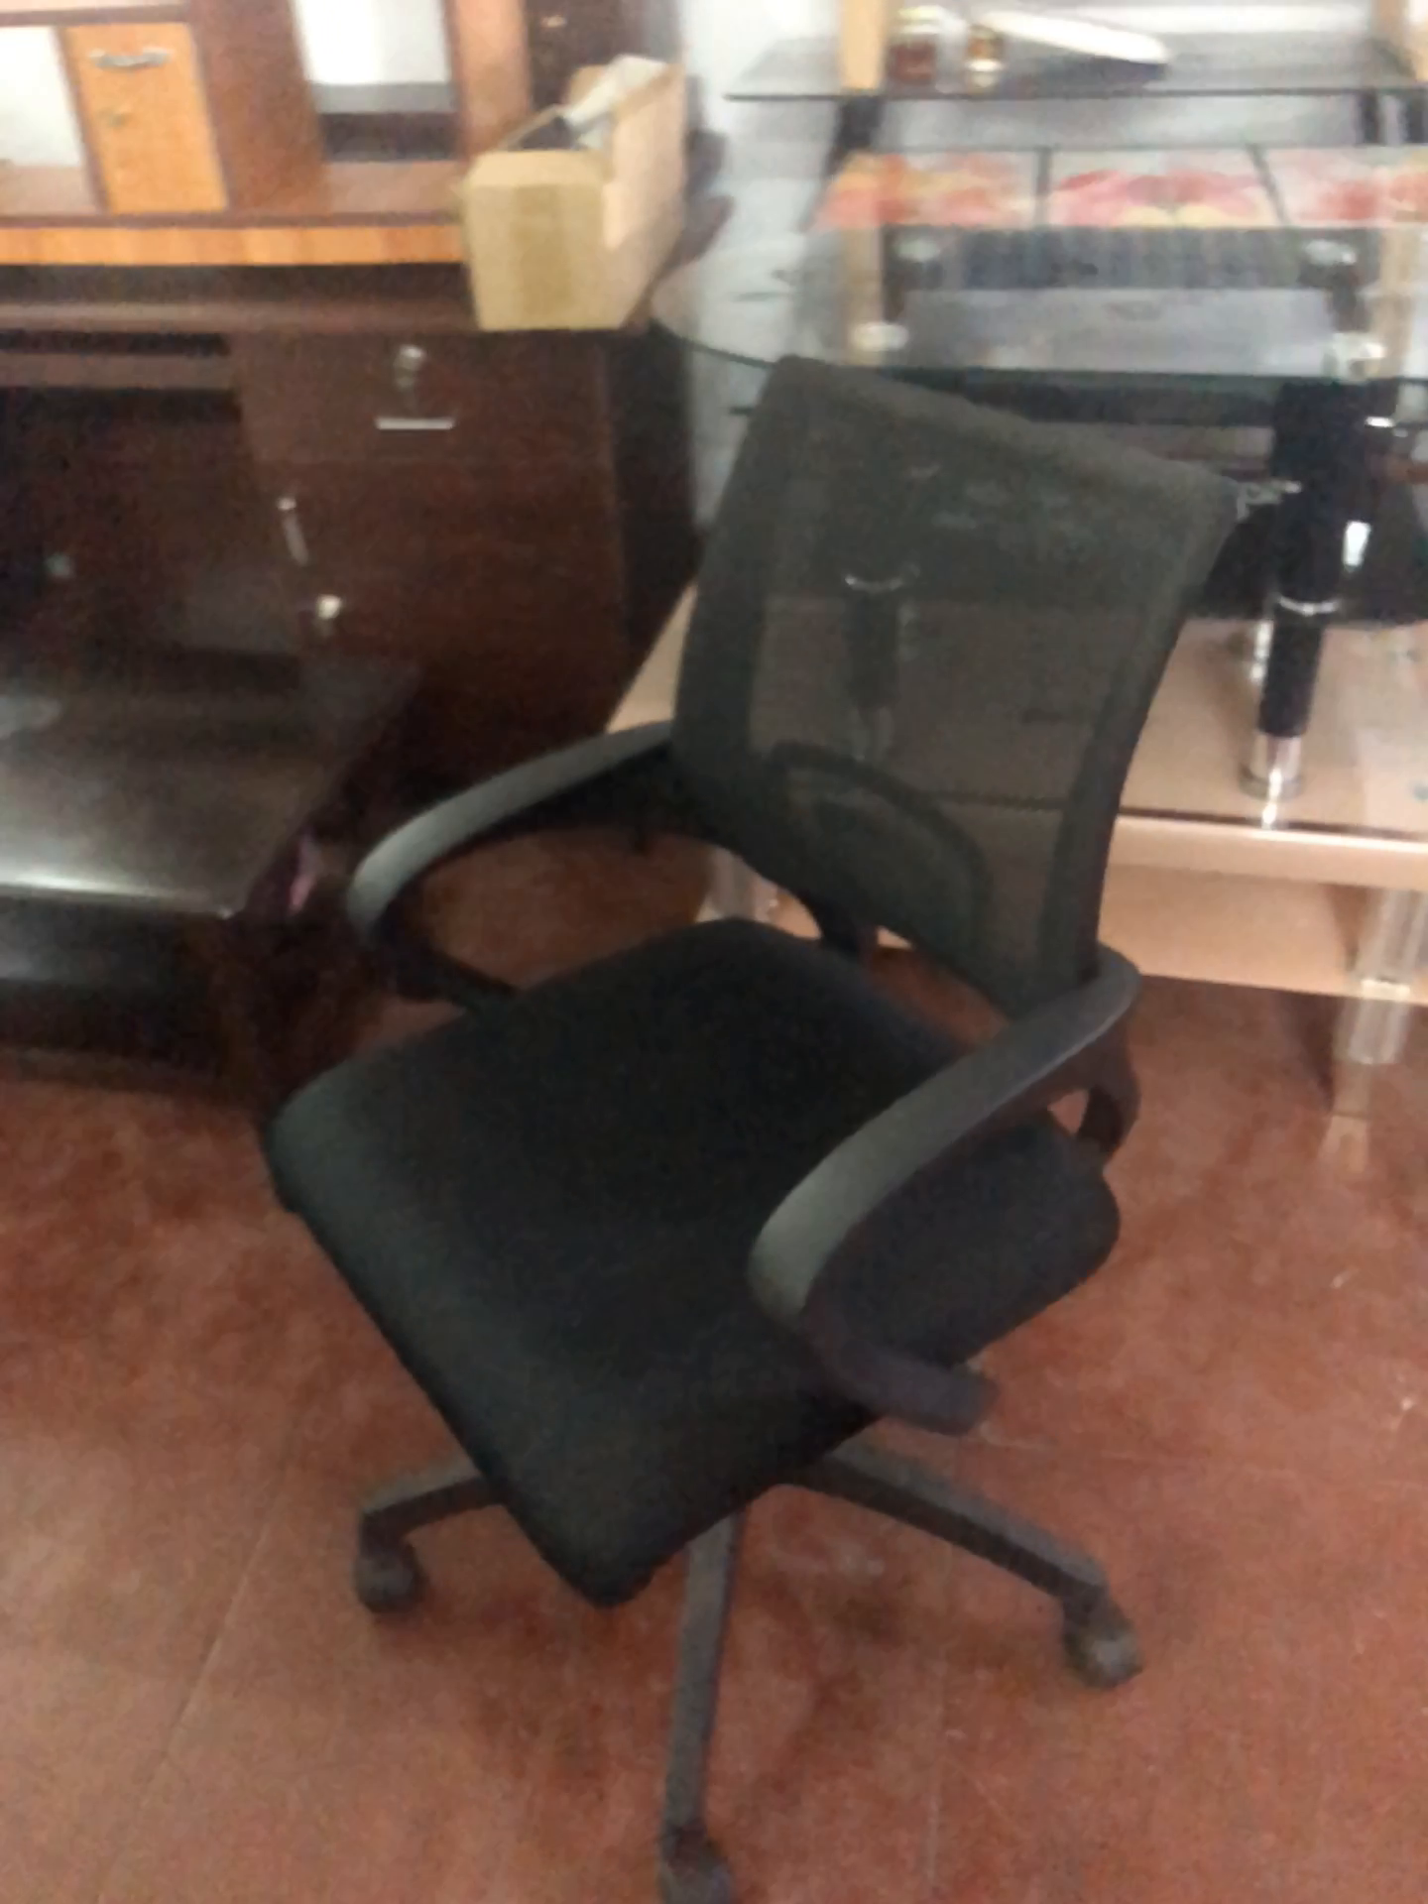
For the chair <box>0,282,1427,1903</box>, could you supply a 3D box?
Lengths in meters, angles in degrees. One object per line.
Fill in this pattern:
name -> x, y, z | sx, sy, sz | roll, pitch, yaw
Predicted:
chair -> 0.003, 0.109, 1.182 | 0.632, 0.915, 0.751 | -26, 42, -28
